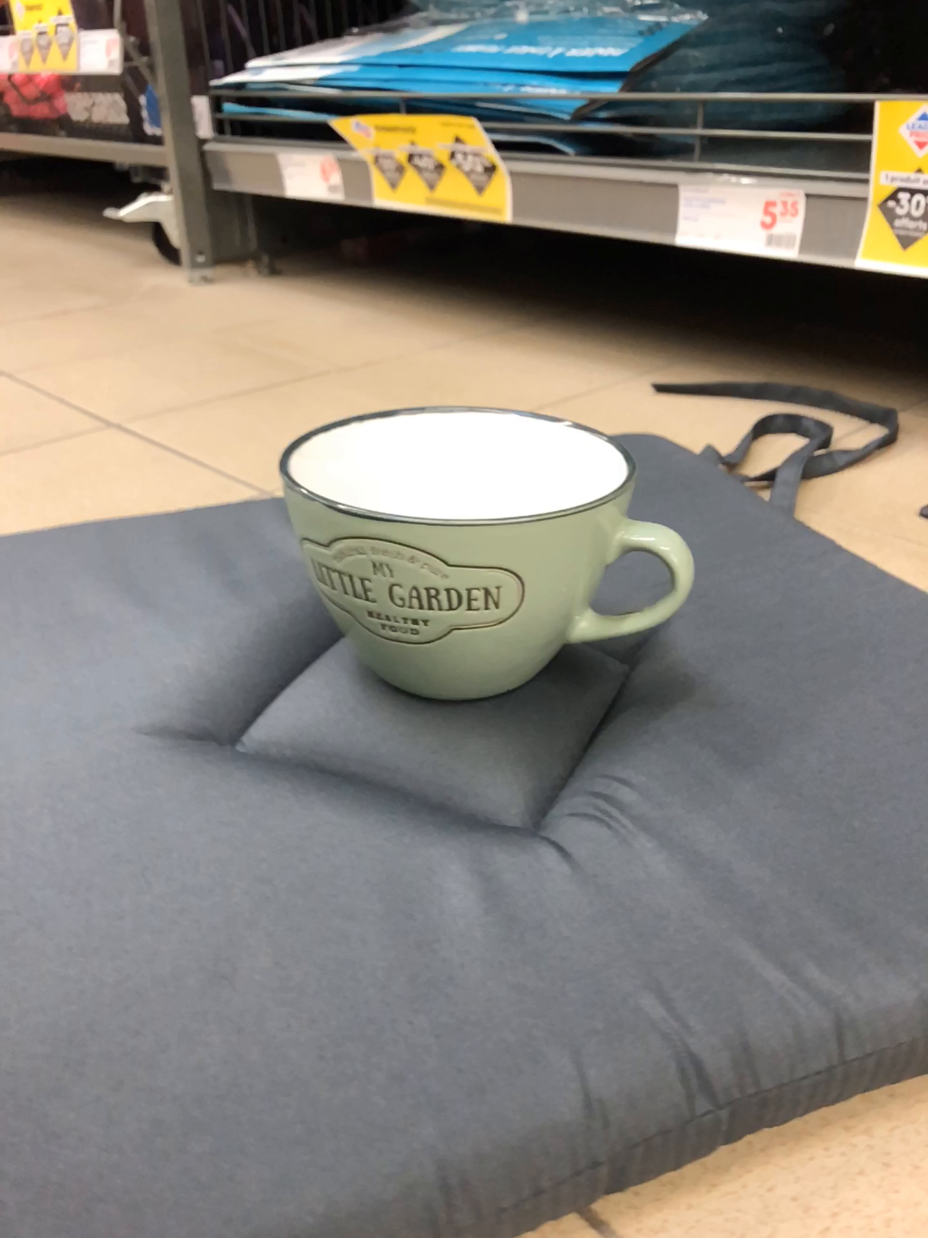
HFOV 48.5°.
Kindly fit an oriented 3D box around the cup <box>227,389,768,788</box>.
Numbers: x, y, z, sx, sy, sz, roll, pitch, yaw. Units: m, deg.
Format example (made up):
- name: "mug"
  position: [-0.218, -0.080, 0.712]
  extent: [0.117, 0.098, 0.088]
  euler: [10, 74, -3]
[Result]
- name: "cup"
  position: [0.018, -0.021, 0.349]
  extent: [0.140, 0.070, 0.121]
  euler: [11, 30, 21]
